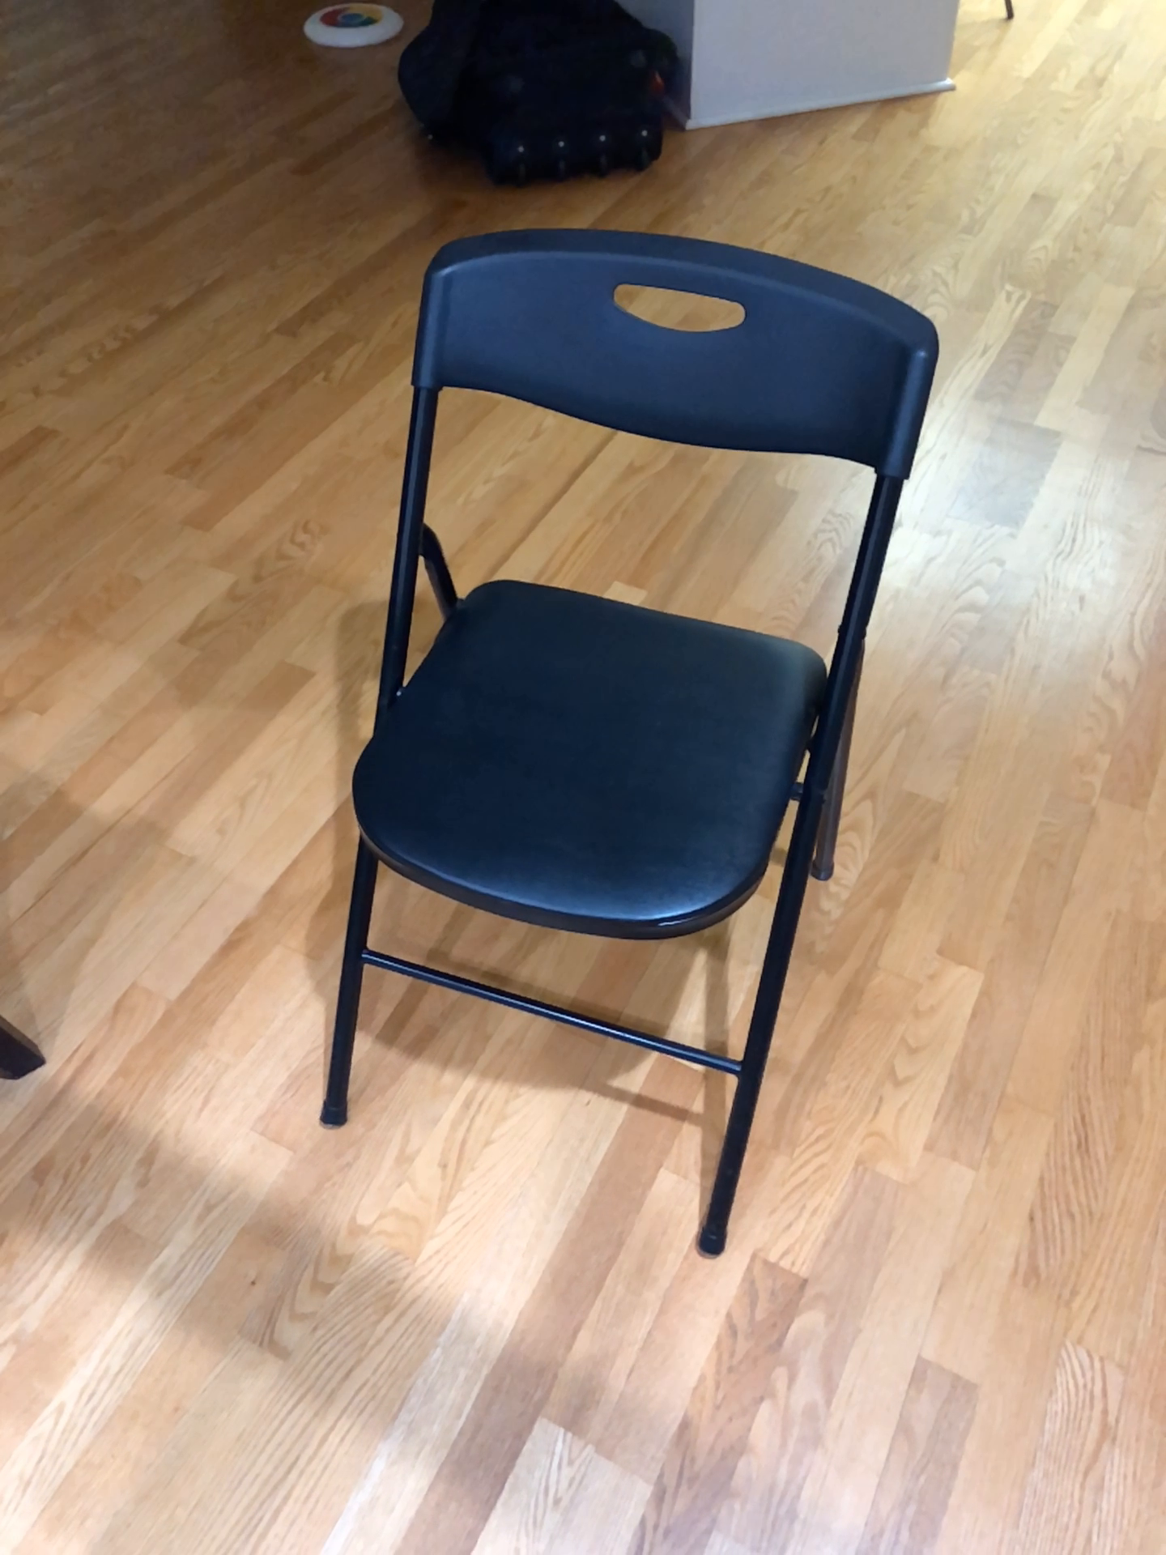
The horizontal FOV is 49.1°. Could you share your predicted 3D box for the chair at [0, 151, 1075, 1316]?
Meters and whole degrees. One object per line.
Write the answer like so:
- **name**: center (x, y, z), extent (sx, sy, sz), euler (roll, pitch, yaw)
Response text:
- **chair**: center (0.017, -0.060, 1.162), extent (0.610, 0.657, 0.683), euler (14, 50, 13)
